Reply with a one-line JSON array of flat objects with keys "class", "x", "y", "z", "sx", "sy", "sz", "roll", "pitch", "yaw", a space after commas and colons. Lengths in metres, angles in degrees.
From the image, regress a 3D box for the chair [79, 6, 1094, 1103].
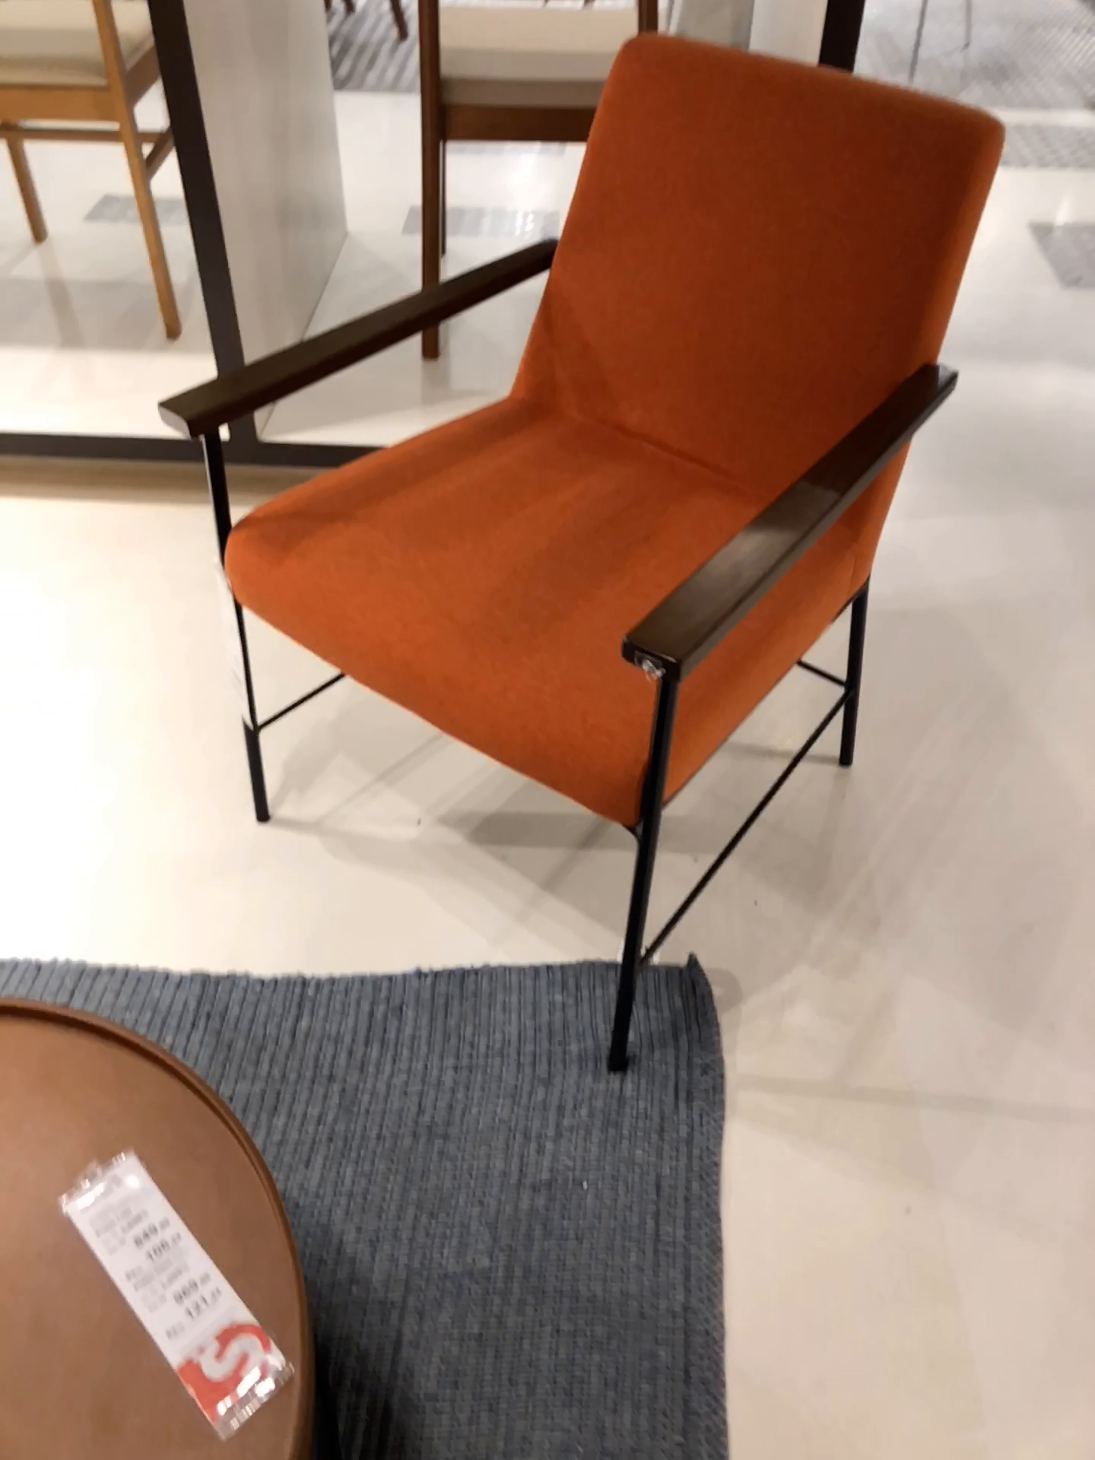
[{"class": "chair", "x": 0.072, "y": -0.228, "z": 1.359, "sx": 0.652, "sy": 0.824, "sz": 0.704, "roll": 29, "pitch": 51, "yaw": 27}]
